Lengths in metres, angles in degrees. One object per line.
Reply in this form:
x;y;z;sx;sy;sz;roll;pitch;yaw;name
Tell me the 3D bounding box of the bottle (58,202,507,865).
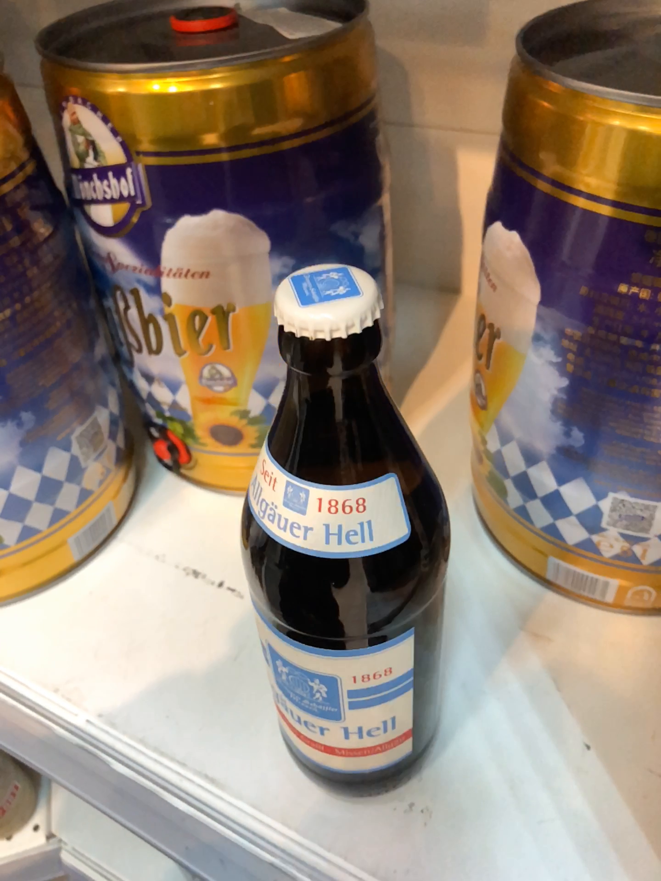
0.000;0.045;0.254;0.080;0.219;0.080;-4;41;3;bottle
